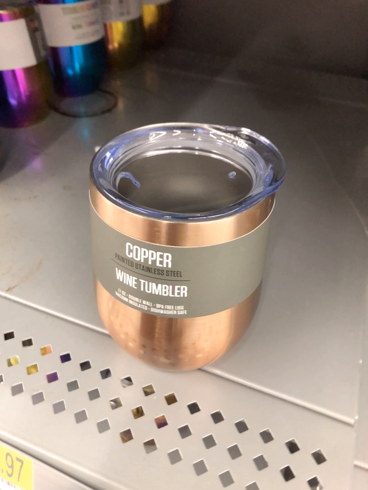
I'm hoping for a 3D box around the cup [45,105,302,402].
[{"bbox_3d":[-0.001,0.008,0.212,0.088,0.121,0.068,13,45,12],"label":"cup"}]
